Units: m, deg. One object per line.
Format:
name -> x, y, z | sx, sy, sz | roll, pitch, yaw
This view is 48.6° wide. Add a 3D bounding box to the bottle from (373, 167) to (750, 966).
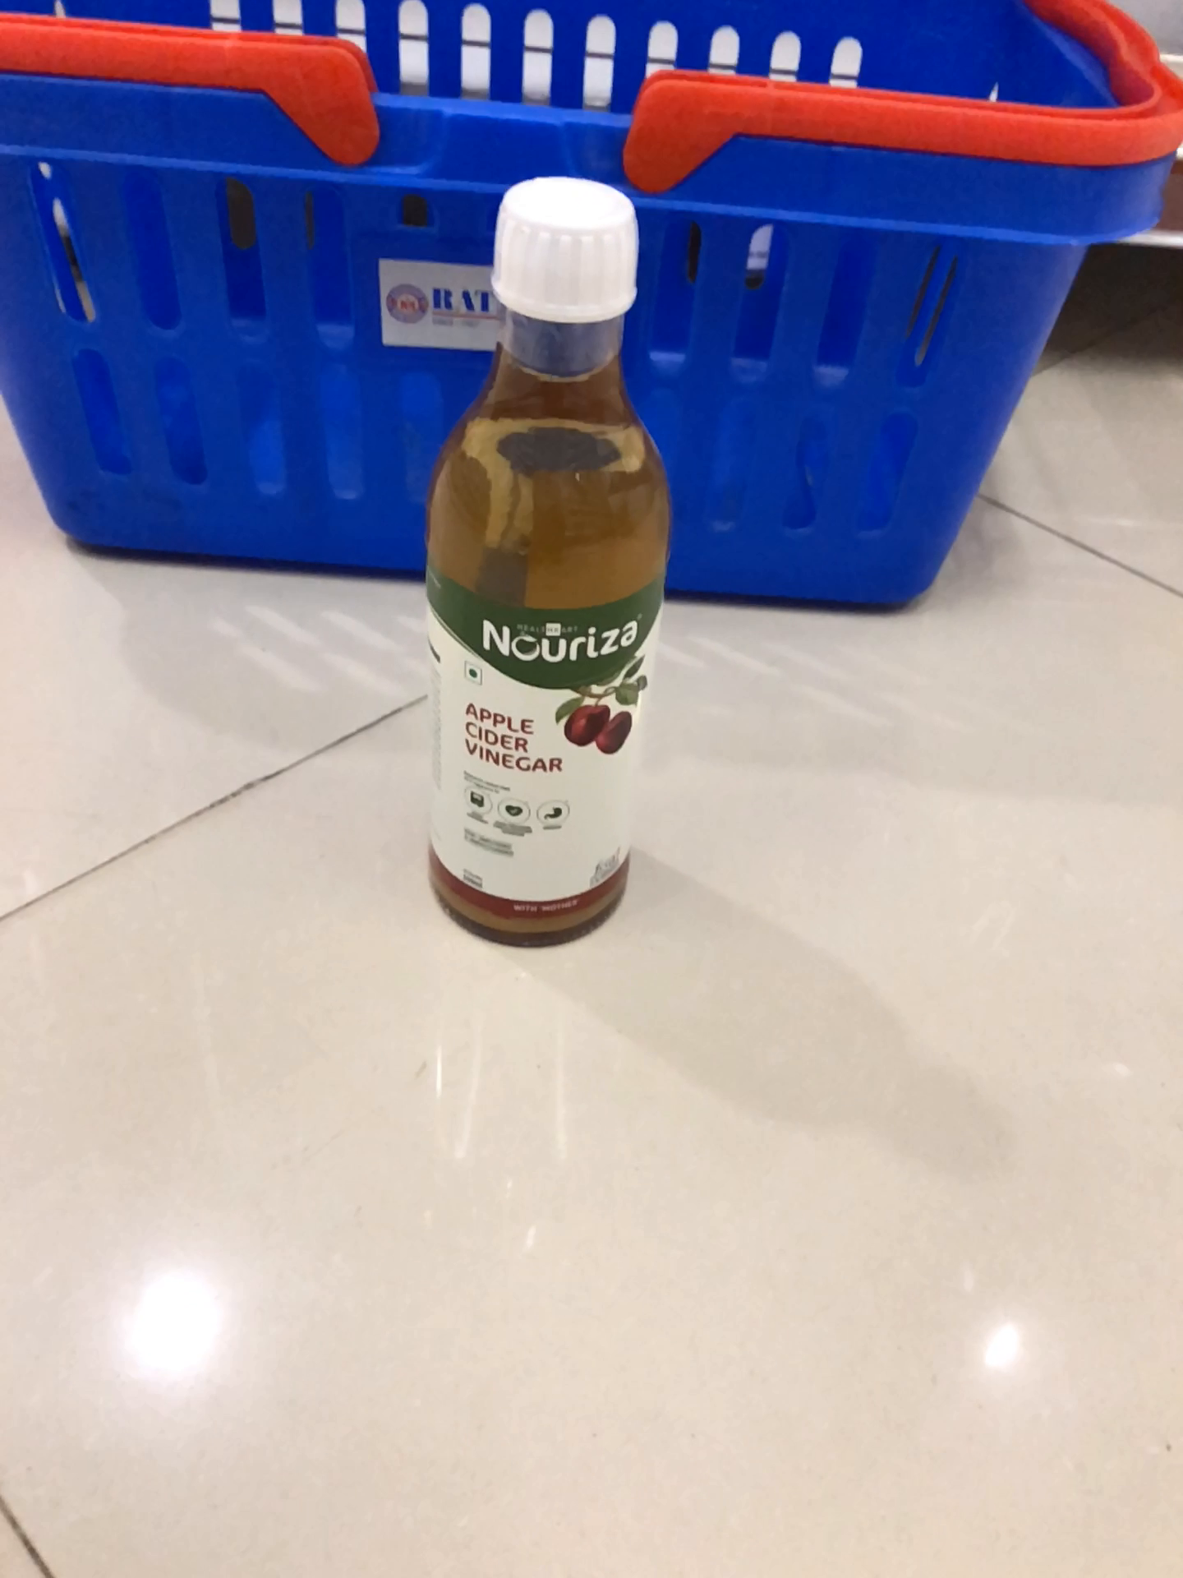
bottle -> -0.014, -0.049, 0.376 | 0.080, 0.218, 0.070 | 2, 41, -3
